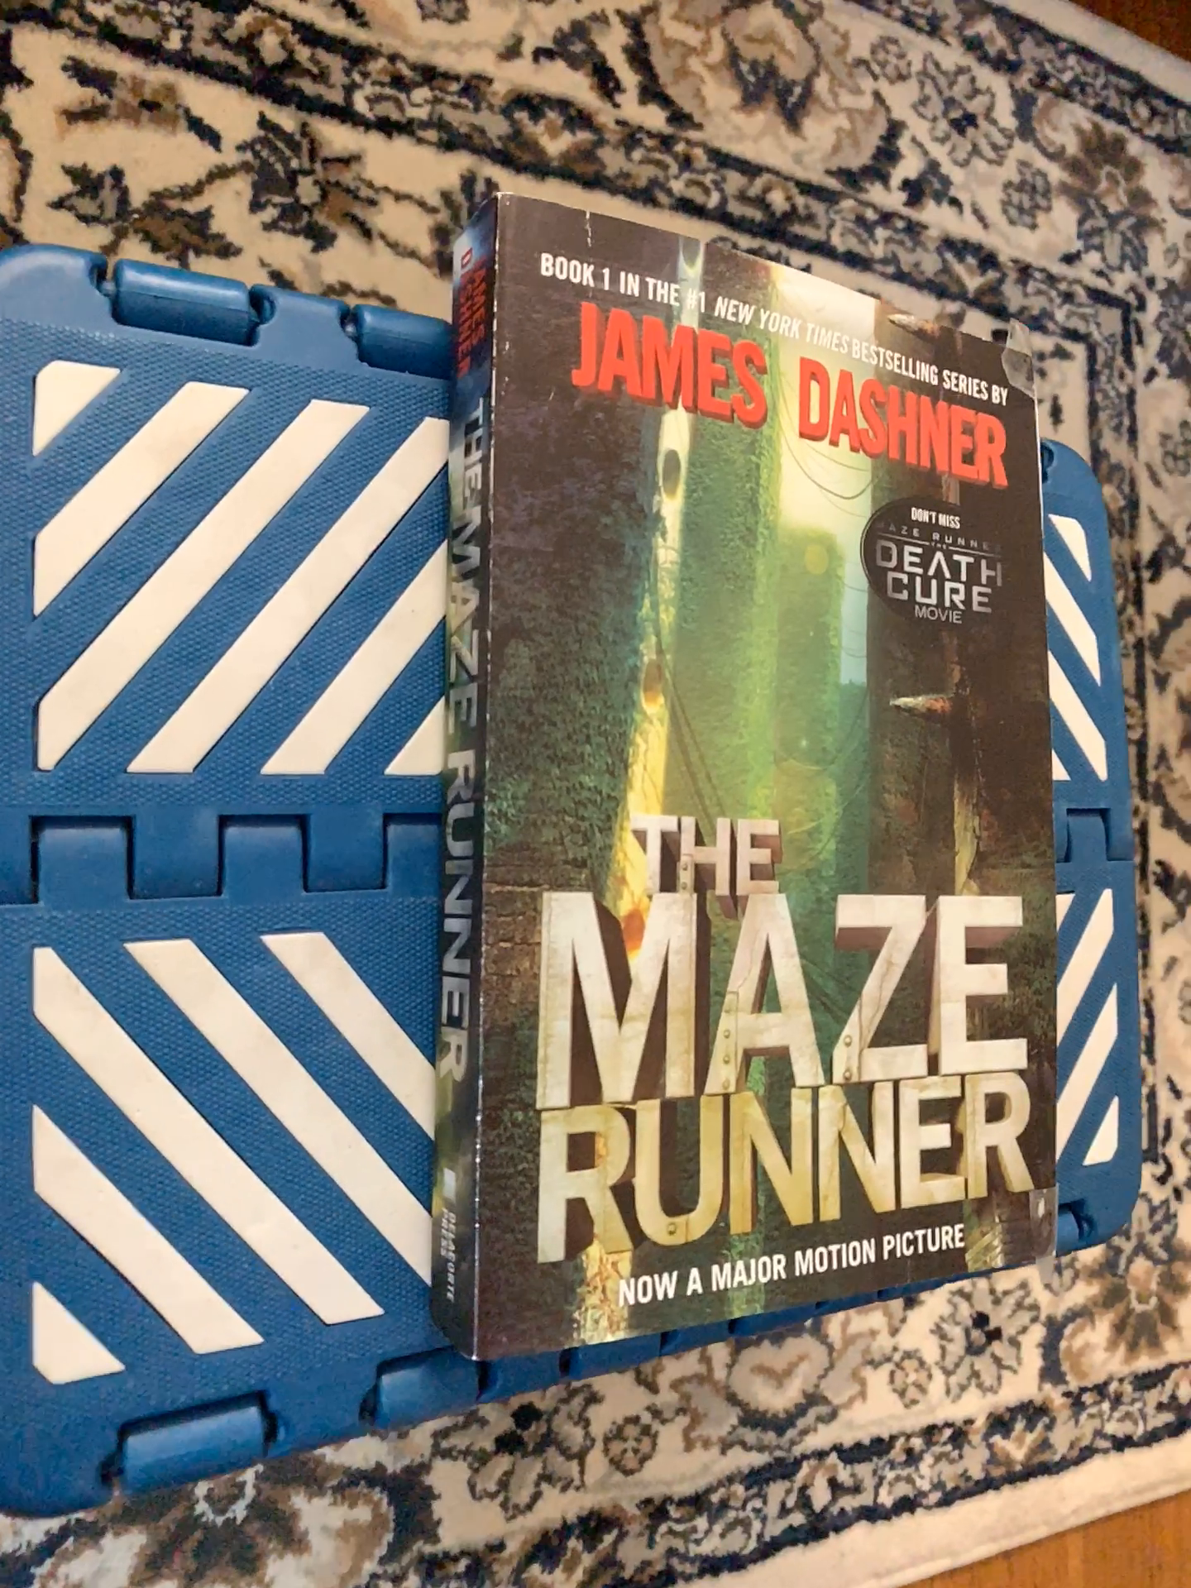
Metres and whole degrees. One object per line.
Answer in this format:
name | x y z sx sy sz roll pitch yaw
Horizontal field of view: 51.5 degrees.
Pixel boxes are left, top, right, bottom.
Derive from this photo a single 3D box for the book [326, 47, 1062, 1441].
book | 0.028 -0.009 0.251 0.151 0.030 0.230 4 83 -29
